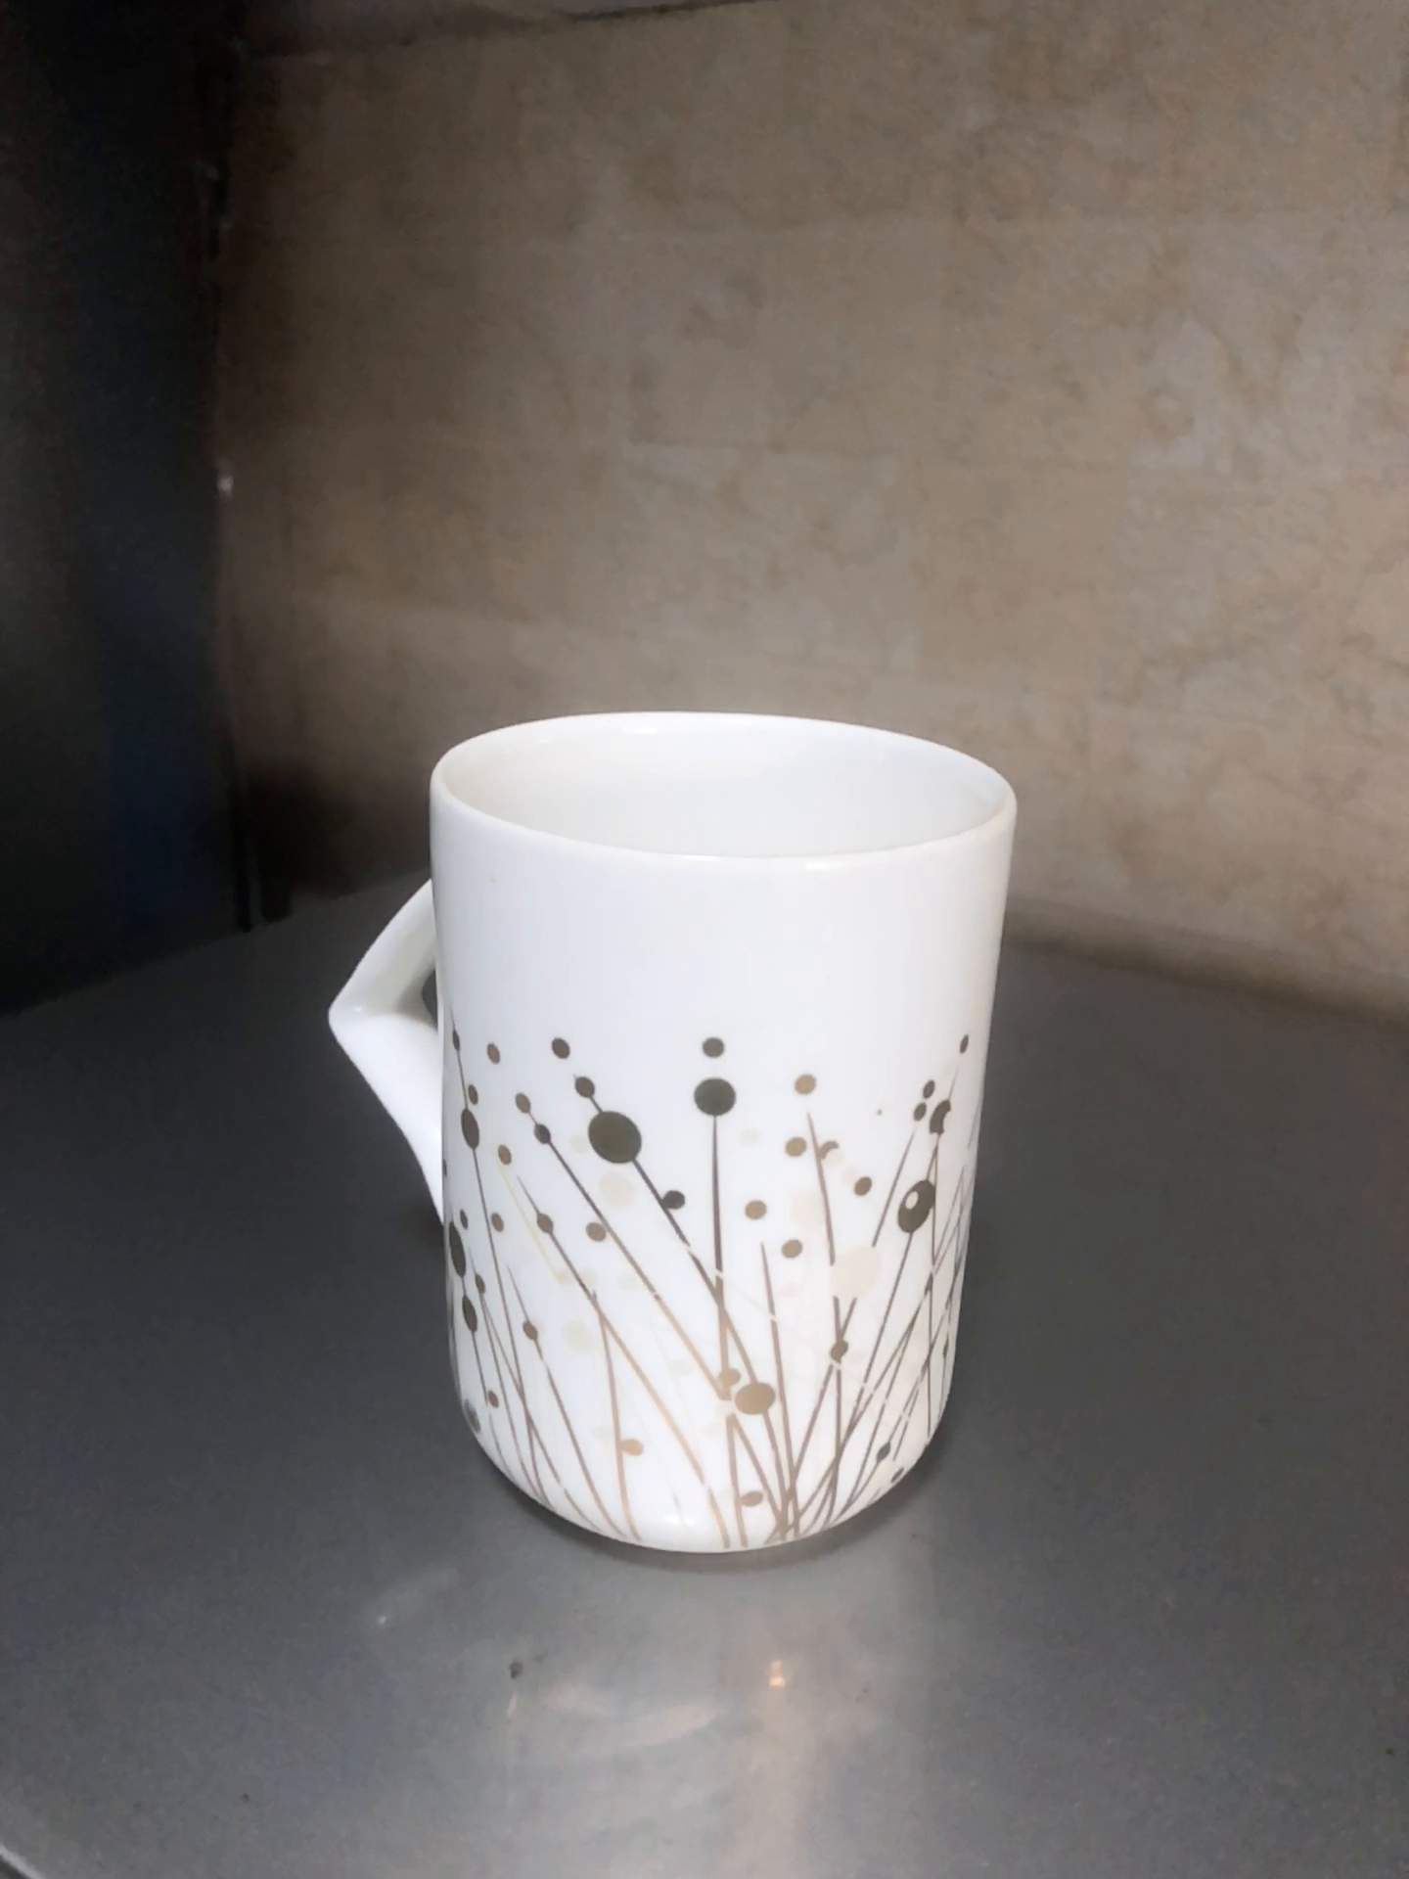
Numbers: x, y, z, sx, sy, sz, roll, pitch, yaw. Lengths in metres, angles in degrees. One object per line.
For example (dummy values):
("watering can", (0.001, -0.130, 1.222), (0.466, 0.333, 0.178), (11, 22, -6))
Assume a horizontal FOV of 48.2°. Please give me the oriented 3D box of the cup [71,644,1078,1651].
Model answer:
("cup", (-0.013, 0.018, 0.225), (0.110, 0.099, 0.080), (8, 20, 18))
